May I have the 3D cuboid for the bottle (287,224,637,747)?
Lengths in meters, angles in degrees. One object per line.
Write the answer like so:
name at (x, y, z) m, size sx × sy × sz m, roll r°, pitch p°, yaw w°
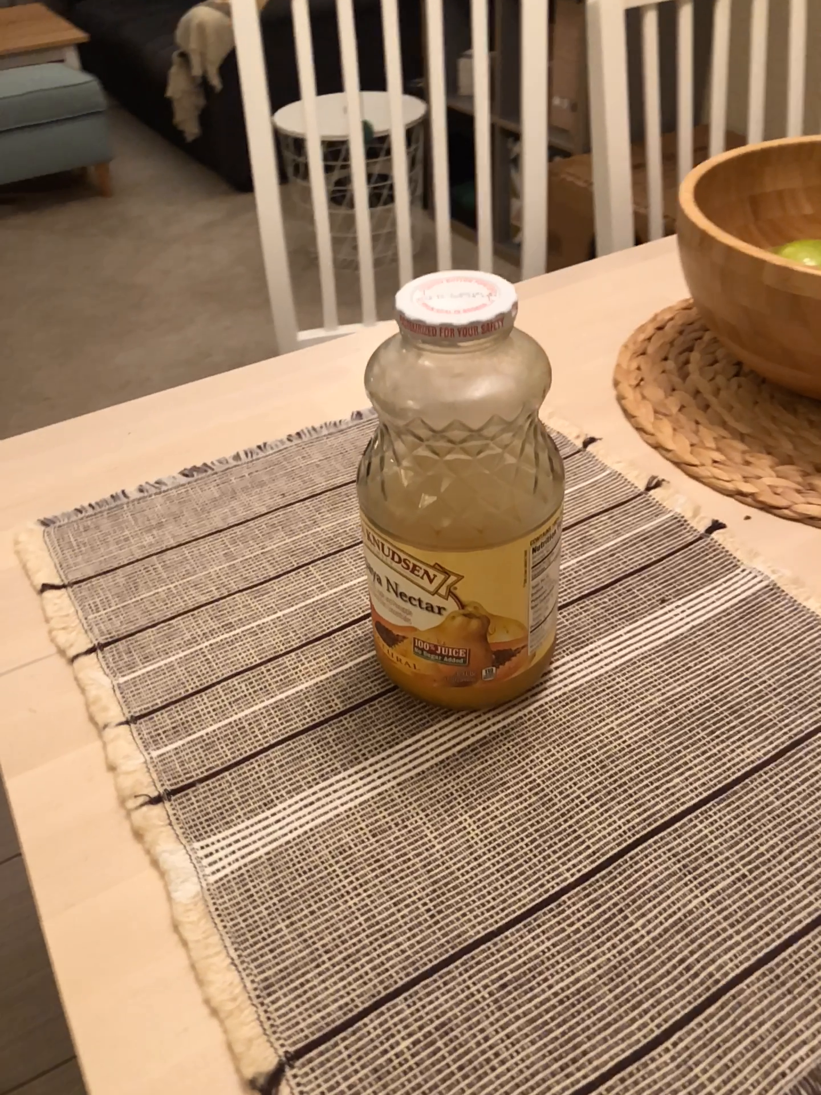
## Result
bottle at (0.022, -0.026, 0.422) m, size 0.100 × 0.199 × 0.100 m, roll -2°, pitch 39°, yaw 2°
